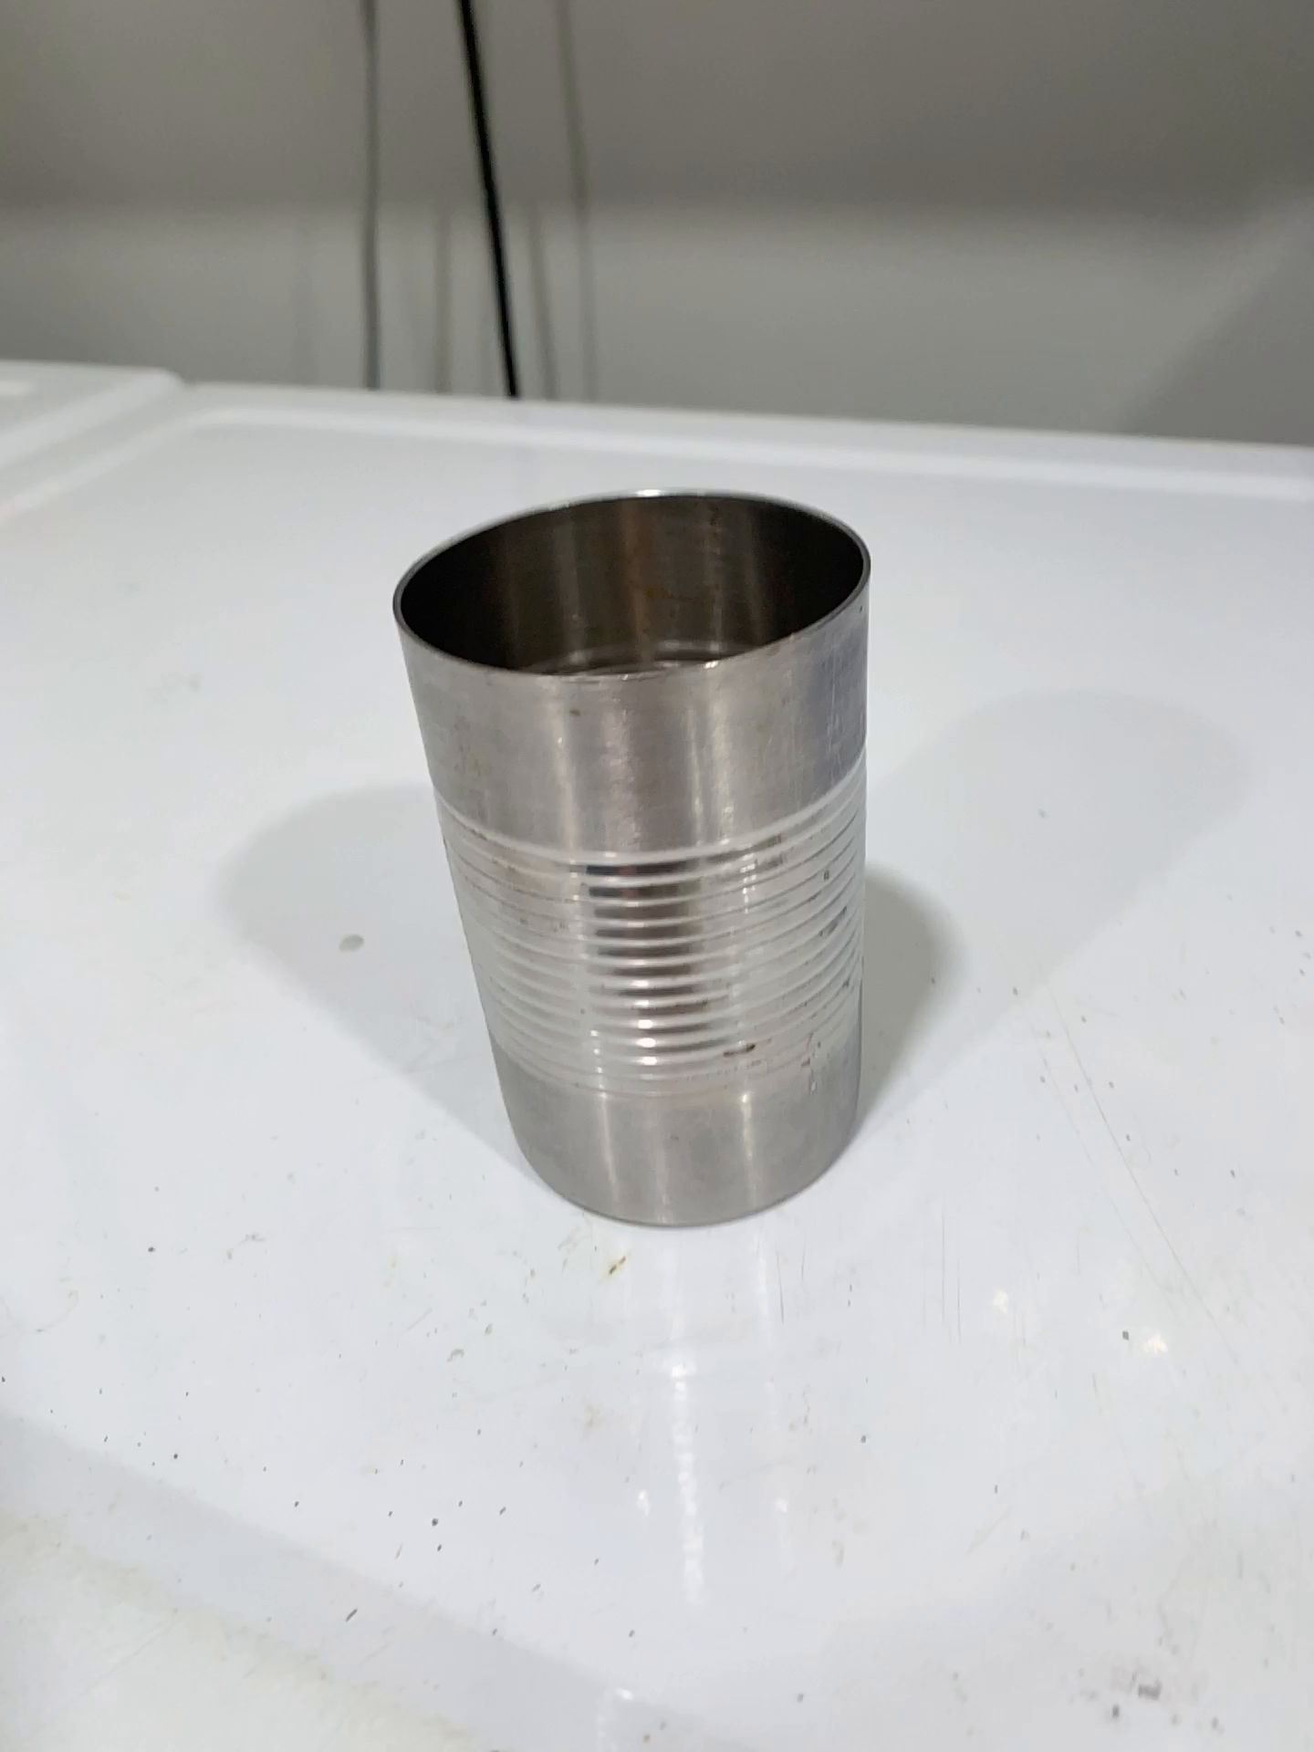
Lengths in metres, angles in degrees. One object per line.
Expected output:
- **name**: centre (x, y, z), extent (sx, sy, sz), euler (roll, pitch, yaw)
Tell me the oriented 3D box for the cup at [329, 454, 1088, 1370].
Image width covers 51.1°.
- **cup**: centre (0.008, 0.001, 0.204), extent (0.070, 0.095, 0.070), euler (-3, 34, 2)
